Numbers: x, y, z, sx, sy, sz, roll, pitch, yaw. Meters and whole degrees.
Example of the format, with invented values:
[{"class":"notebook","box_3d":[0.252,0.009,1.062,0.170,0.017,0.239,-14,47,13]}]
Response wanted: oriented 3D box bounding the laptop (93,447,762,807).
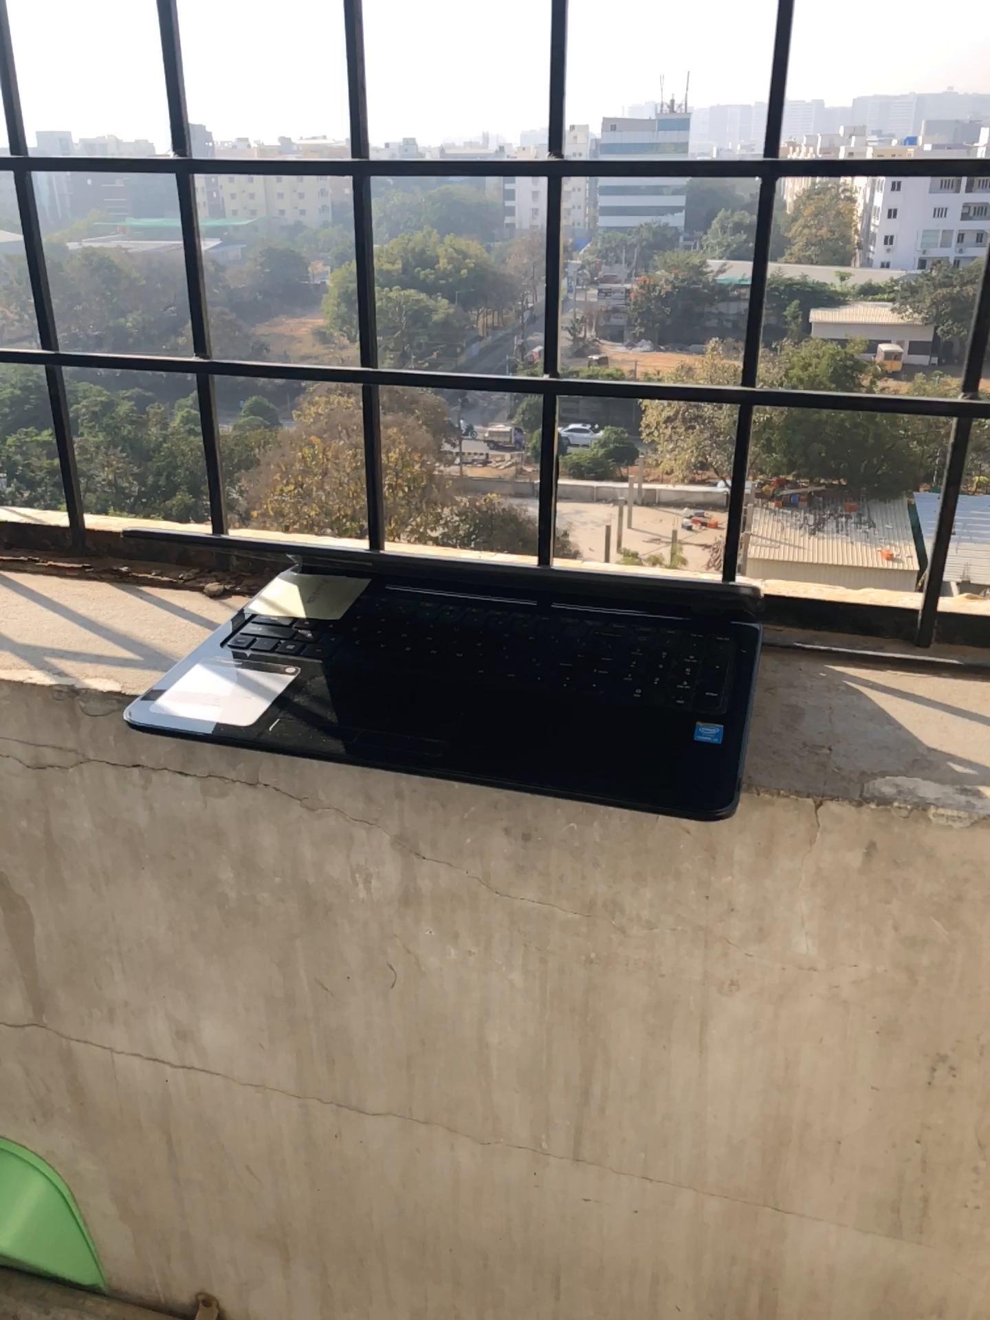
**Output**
[{"class":"laptop","box_3d":[-0.021,-0.043,0.700,0.363,0.113,0.245,6,25,14]}]
